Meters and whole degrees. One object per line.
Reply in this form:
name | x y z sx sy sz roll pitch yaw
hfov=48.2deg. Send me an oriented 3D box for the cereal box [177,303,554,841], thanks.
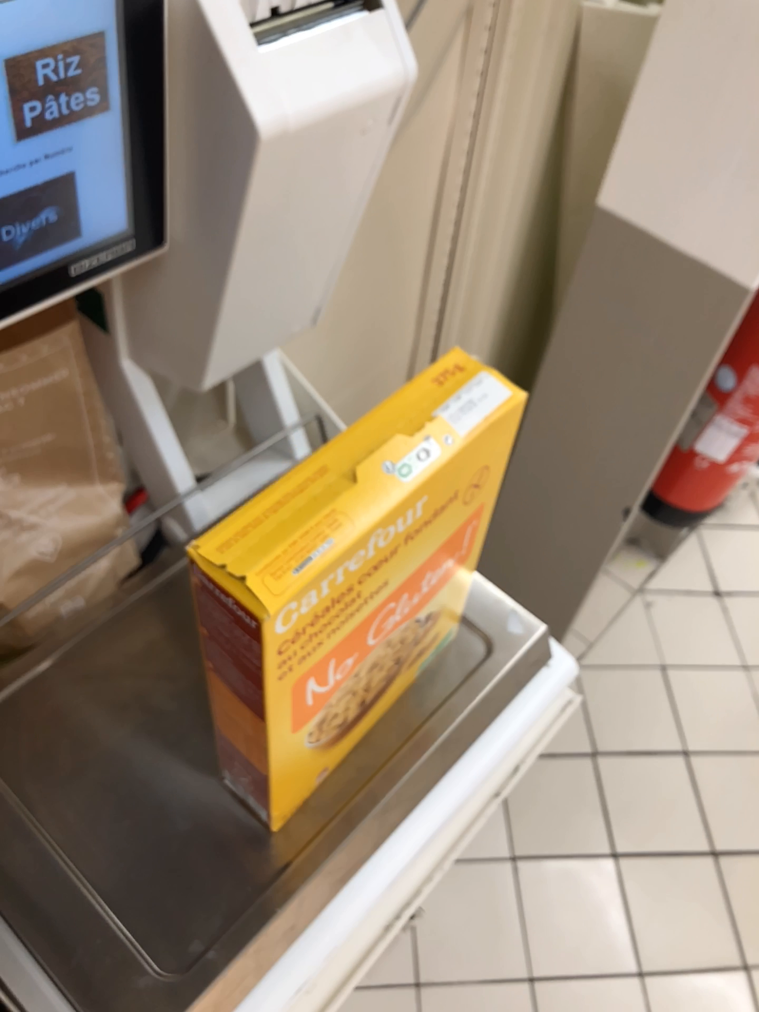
cereal box | -0.009 0.050 0.490 0.060 0.268 0.201 34 54 20
